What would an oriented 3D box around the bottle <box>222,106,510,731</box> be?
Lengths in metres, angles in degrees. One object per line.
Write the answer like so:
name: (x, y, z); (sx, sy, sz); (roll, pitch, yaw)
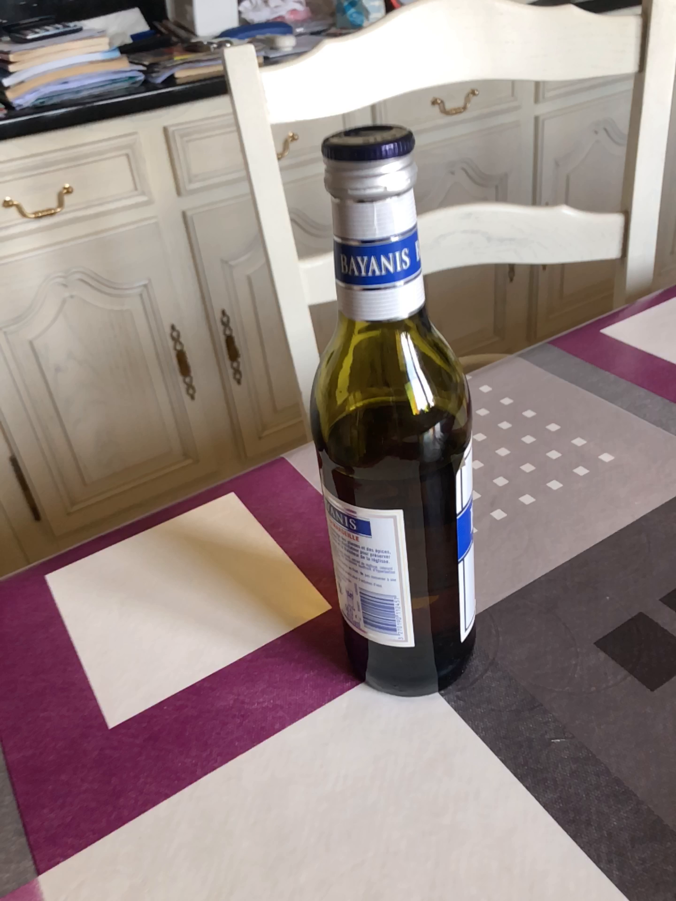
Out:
bottle: (0.022, -0.001, 0.324); (0.070, 0.258, 0.070); (-5, 34, 4)
